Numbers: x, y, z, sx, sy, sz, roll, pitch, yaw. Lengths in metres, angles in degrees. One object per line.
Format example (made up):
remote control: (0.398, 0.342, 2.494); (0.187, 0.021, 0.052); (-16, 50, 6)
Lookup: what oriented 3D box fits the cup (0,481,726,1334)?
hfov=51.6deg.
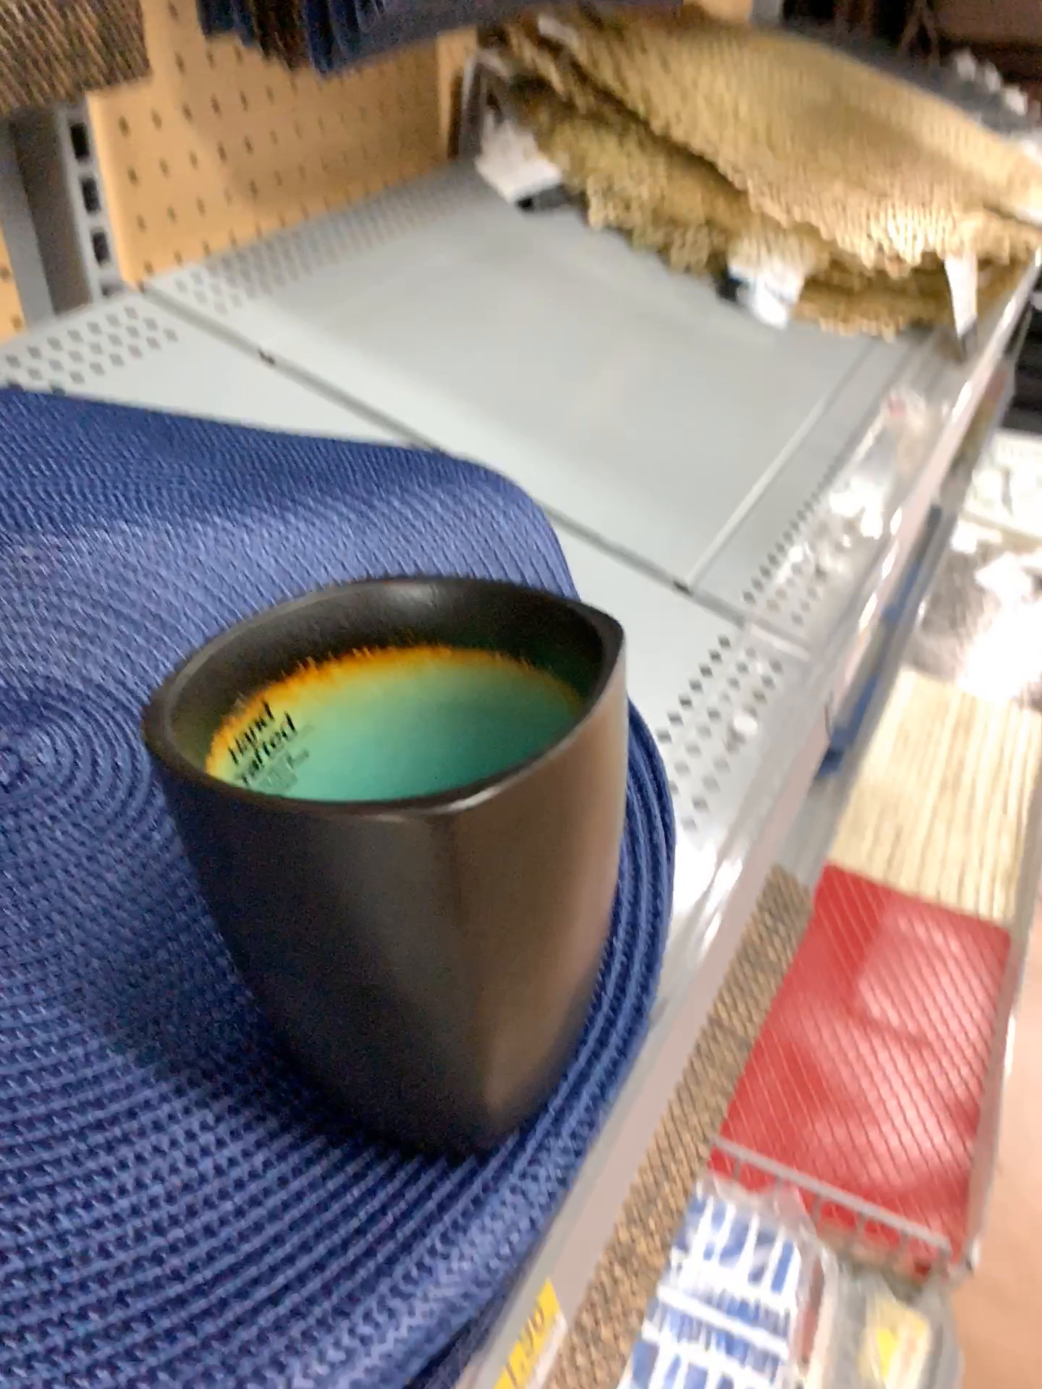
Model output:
cup: (-0.024, 0.034, 0.244); (0.090, 0.109, 0.131); (17, 40, 28)
